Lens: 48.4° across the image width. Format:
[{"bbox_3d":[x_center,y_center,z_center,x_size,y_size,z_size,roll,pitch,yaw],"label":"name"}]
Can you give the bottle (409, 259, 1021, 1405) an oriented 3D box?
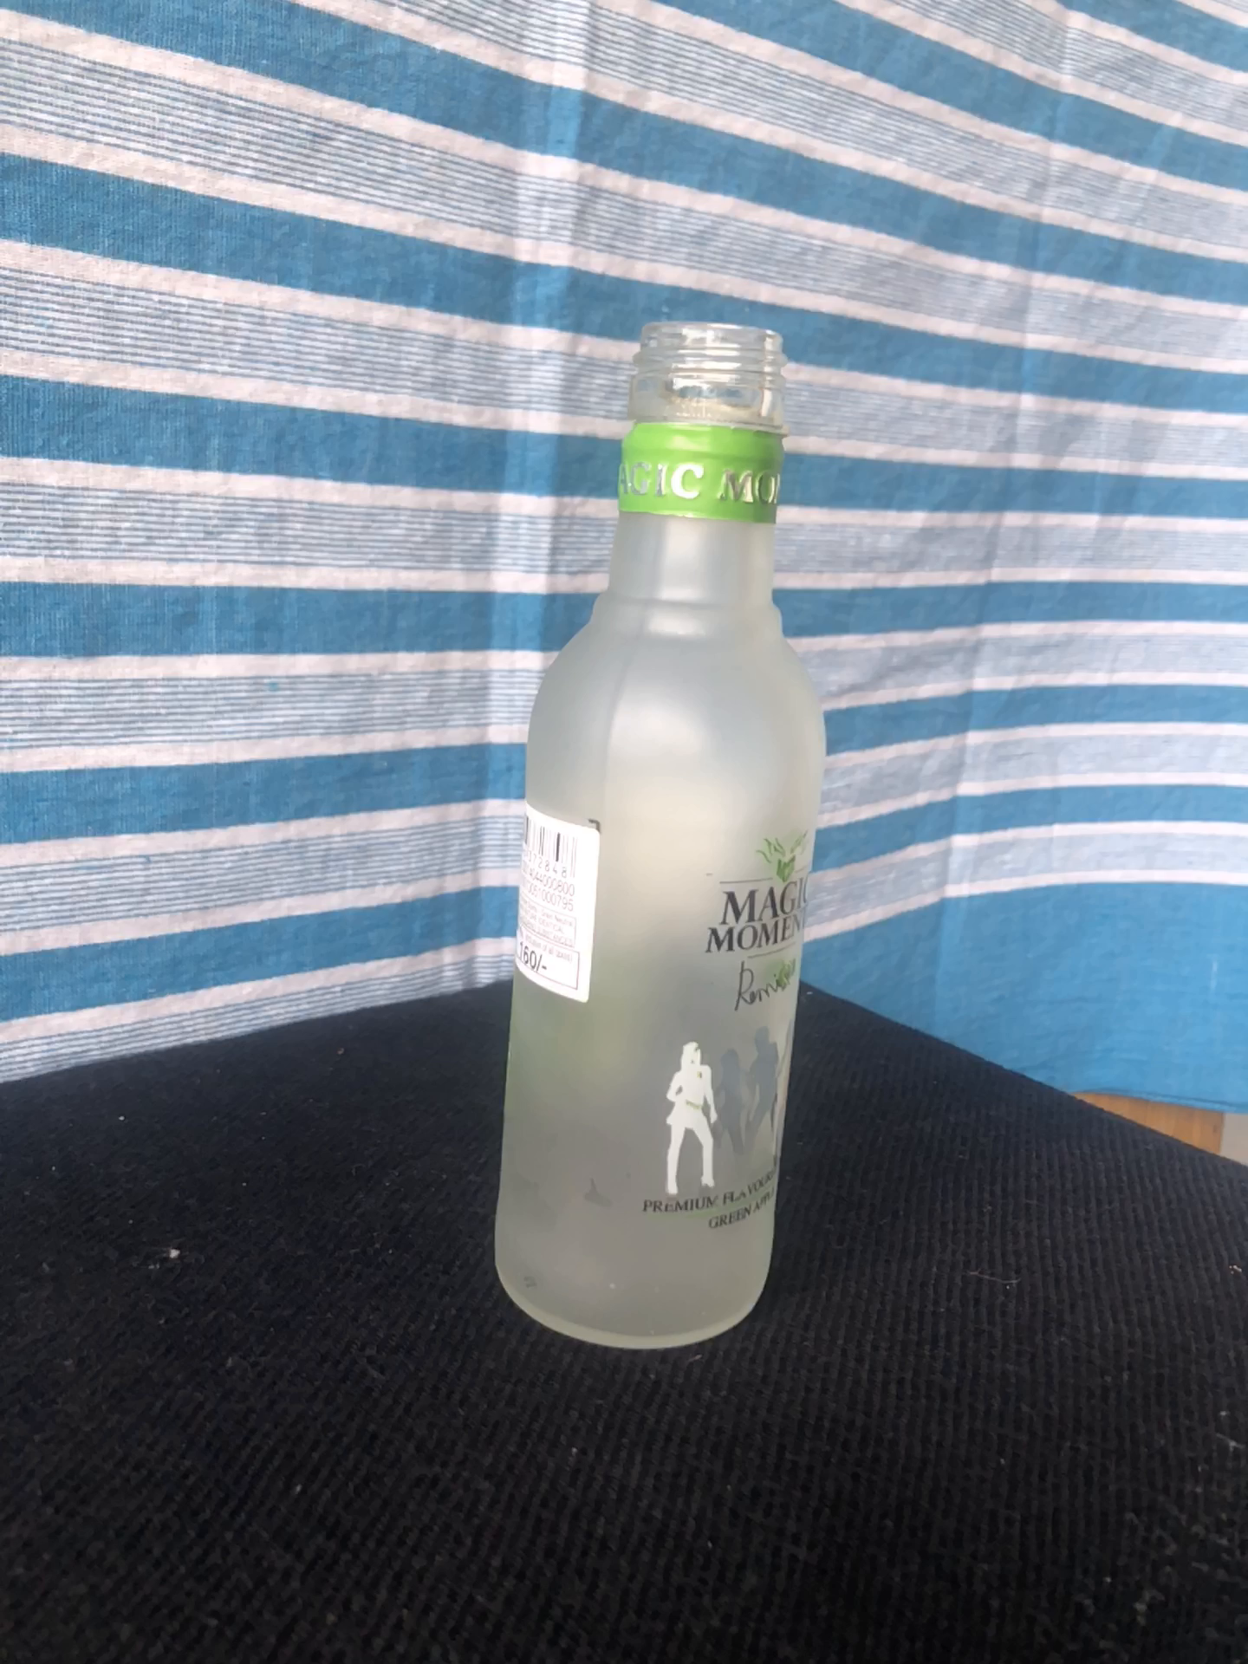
[{"bbox_3d":[0.010,-0.002,0.209,0.050,0.149,0.050,7,14,-2],"label":"bottle"}]
